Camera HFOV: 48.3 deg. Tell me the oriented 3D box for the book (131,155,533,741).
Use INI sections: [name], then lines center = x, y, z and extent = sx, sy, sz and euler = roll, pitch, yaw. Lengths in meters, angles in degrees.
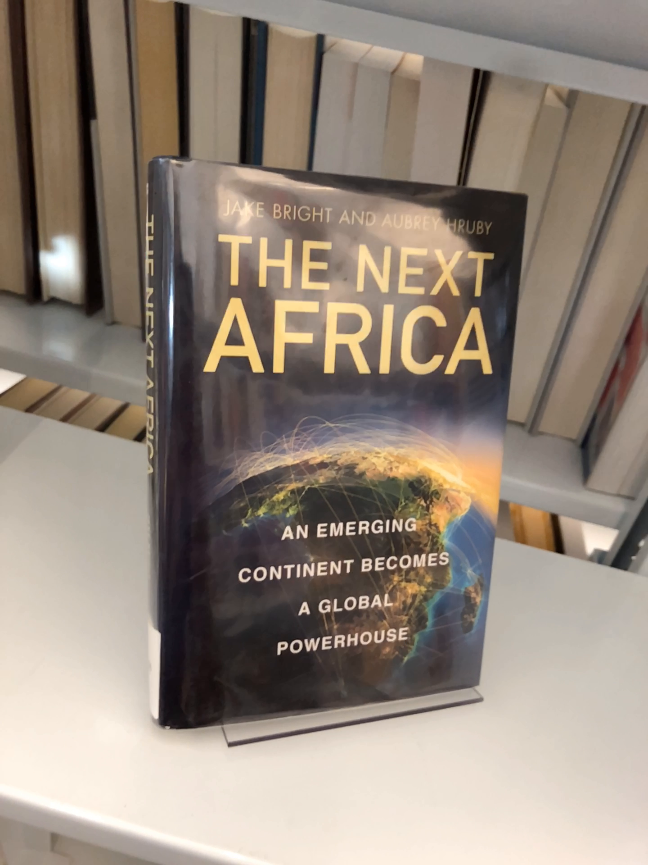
[book]
center = 0.002, 0.009, 0.295
extent = 0.153, 0.211, 0.030
euler = -1, 10, -19
